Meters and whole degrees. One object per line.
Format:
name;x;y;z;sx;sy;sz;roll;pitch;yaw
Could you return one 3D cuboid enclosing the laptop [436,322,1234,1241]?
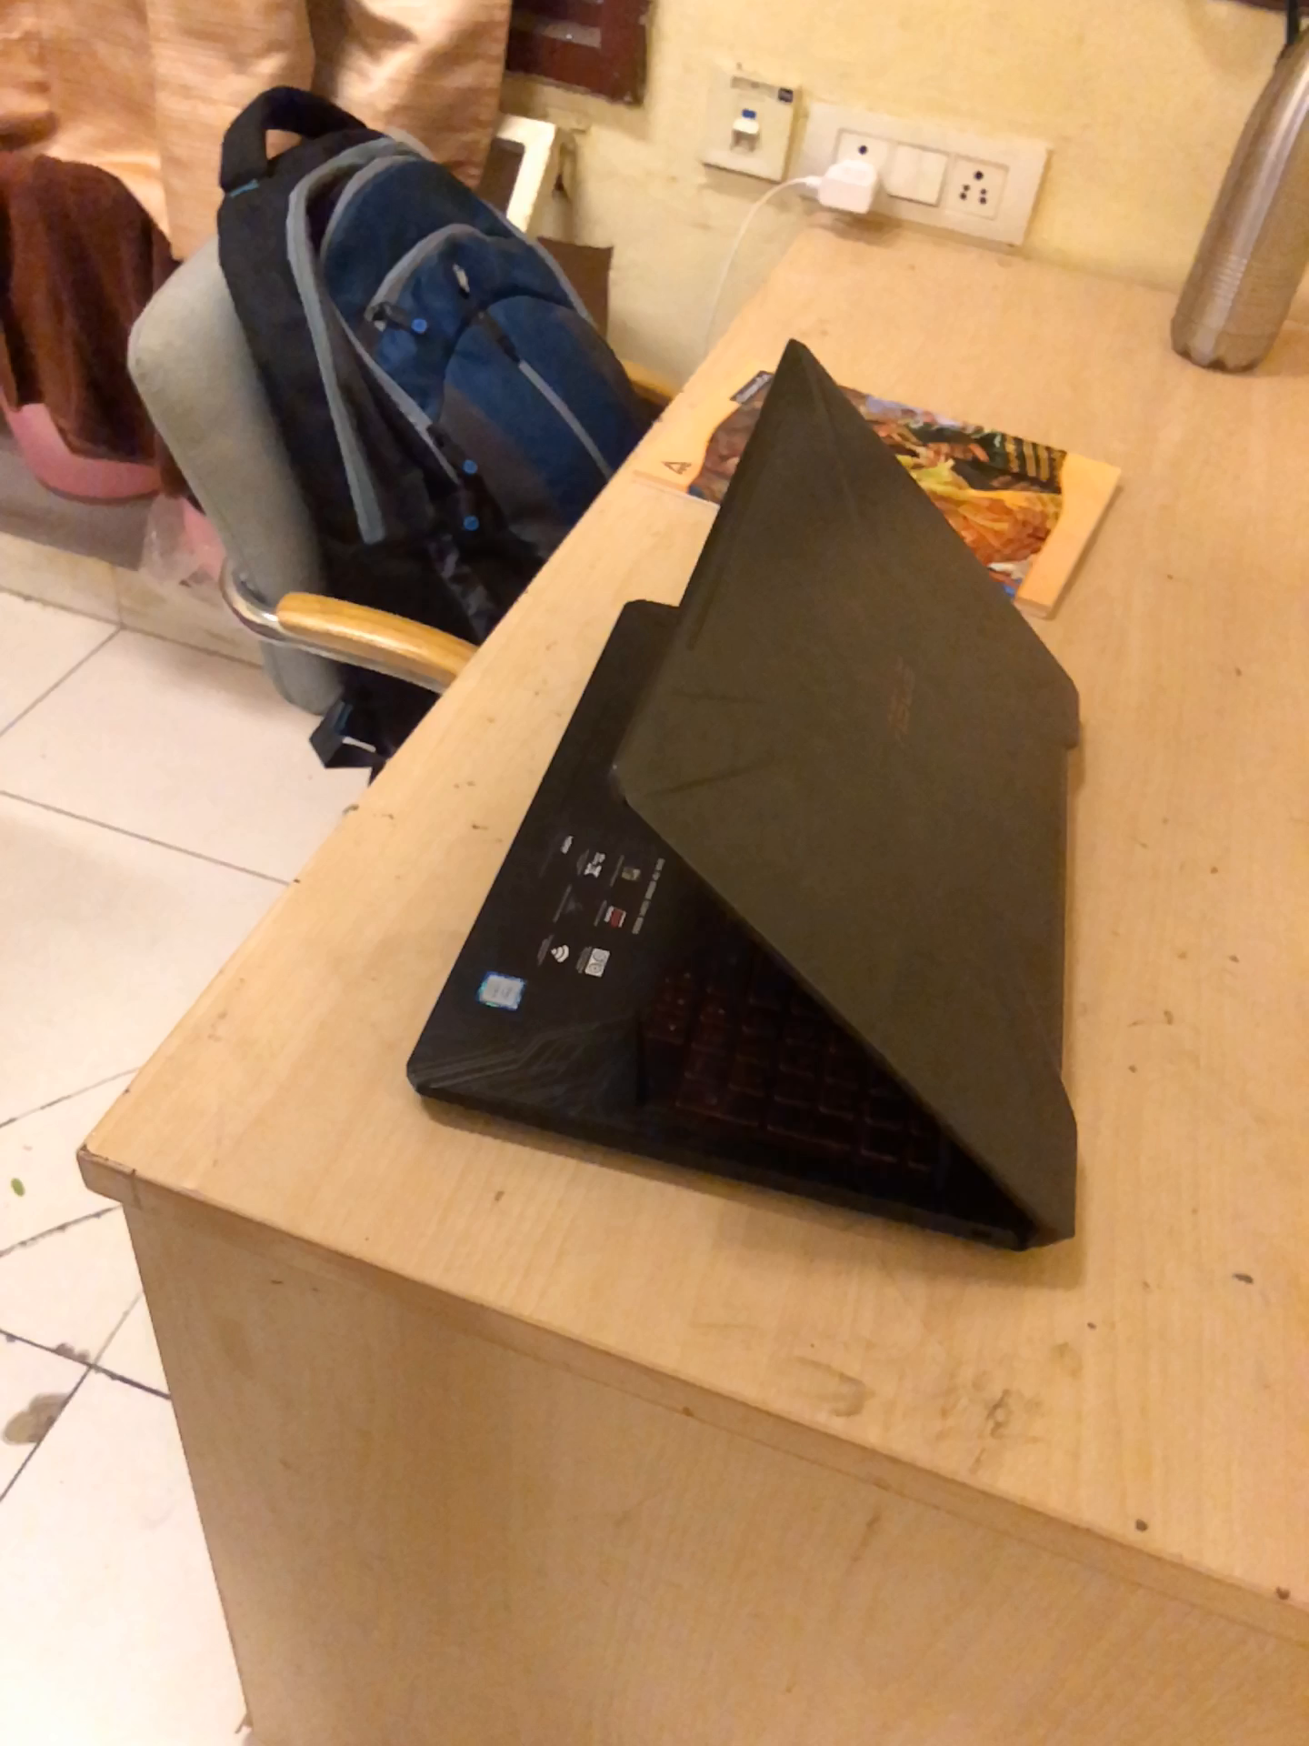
laptop;0.087;-0.069;0.643;0.252;0.173;0.372;14;42;5
